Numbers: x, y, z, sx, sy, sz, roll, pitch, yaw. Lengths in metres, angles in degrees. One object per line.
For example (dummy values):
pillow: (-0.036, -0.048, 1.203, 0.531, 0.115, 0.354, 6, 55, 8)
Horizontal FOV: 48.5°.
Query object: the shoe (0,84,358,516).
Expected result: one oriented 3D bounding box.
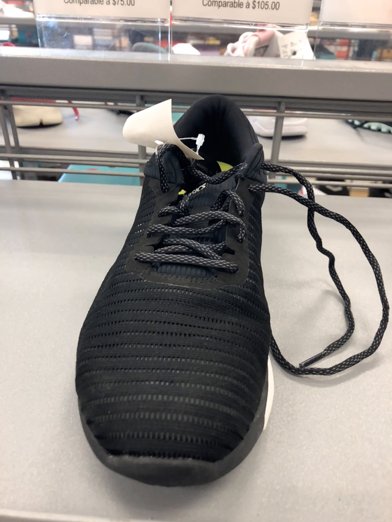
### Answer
shoe: (-0.007, -0.023, 0.288, 0.120, 0.119, 0.302, 3, 32, 1)
